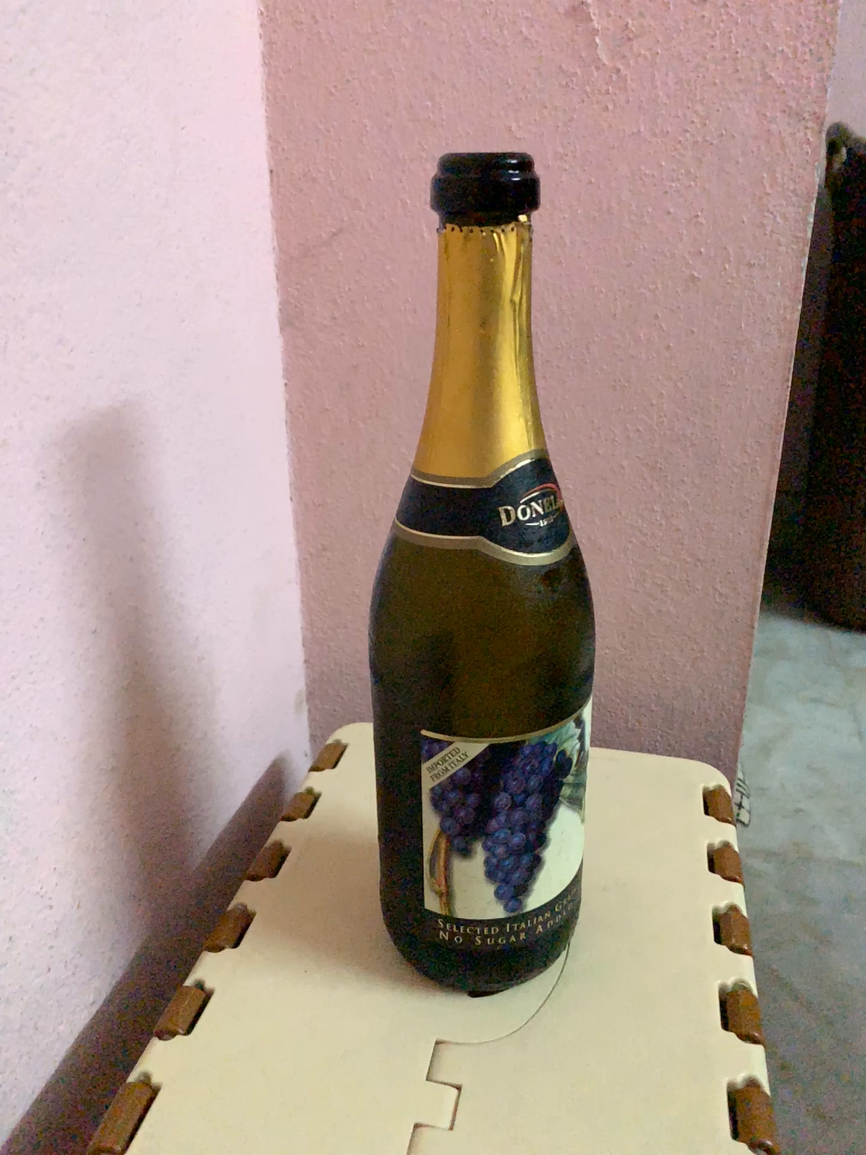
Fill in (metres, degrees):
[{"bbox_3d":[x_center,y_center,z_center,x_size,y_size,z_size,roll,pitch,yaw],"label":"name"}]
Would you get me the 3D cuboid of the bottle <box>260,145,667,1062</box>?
[{"bbox_3d":[0.012,0.012,0.299,0.070,0.279,0.090,20,30,40],"label":"bottle"}]
